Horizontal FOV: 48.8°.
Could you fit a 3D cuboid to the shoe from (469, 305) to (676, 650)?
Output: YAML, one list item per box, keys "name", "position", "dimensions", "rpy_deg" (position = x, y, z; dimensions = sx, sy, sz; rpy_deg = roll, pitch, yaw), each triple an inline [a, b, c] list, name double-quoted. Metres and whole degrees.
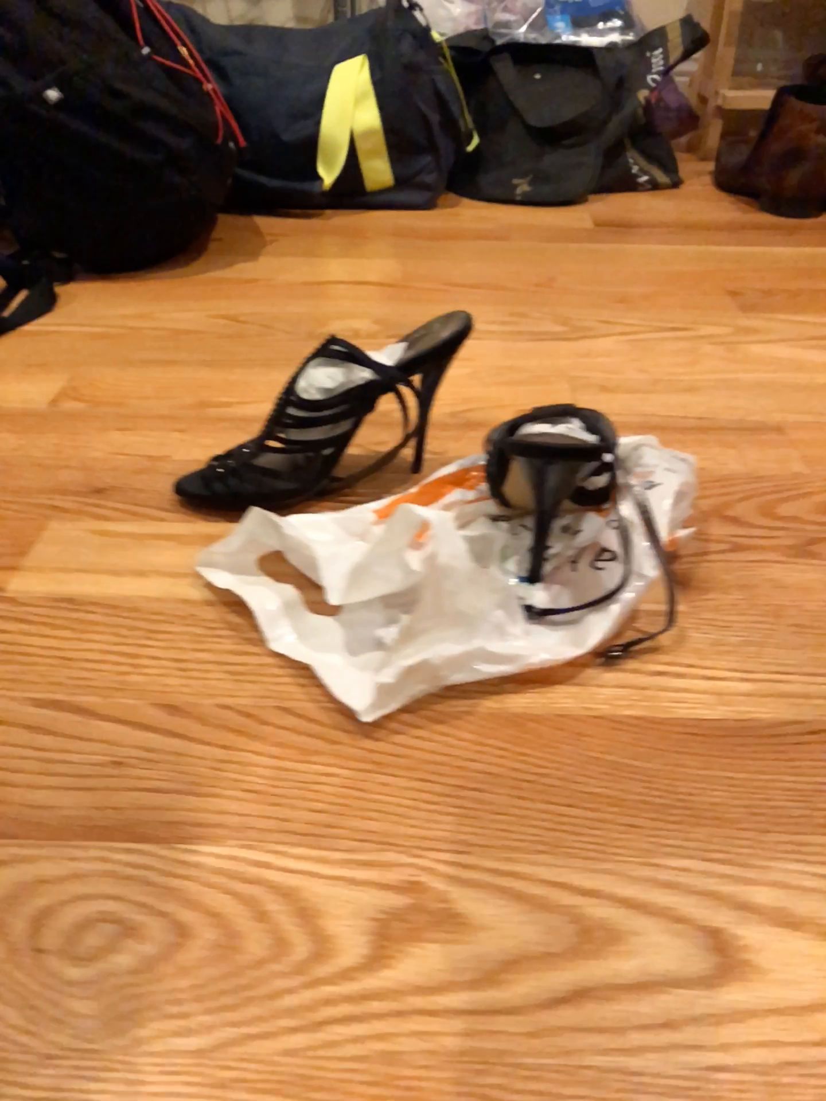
- name: "shoe"
  position: [0.089, -0.057, 0.551]
  dimensions: [0.092, 0.112, 0.218]
  rpy_deg: [4, 33, 5]

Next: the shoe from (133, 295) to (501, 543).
- name: "shoe"
  position: [-0.063, -0.092, 0.604]
  dimensions: [0.217, 0.112, 0.091]
  rpy_deg: [-9, 34, -14]
